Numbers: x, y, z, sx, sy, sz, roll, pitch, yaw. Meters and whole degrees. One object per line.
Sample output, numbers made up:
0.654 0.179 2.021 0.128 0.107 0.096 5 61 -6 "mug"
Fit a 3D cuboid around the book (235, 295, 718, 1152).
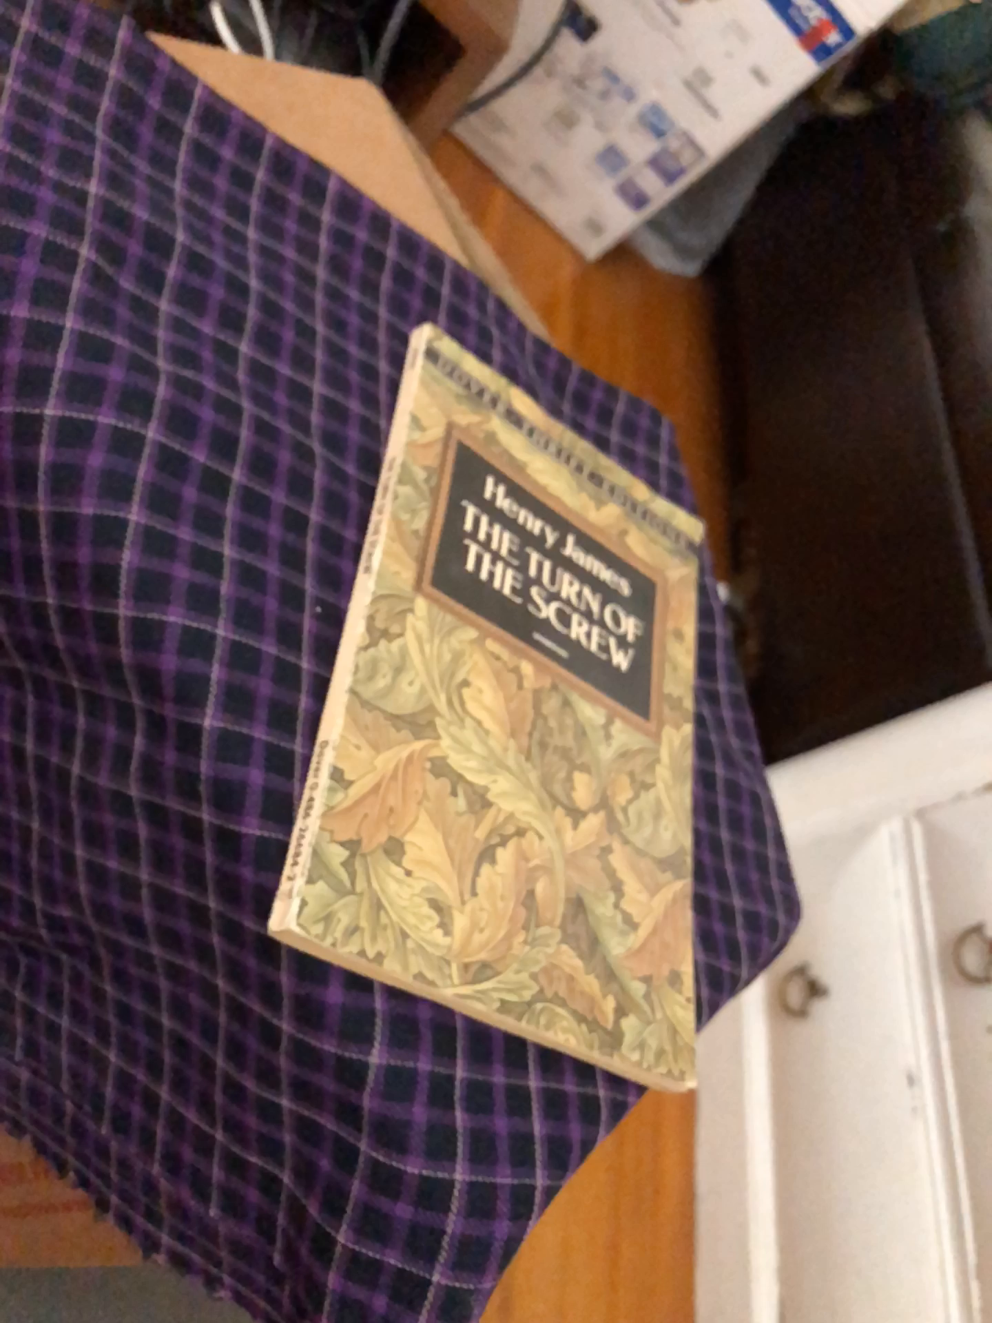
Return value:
0.013 0.008 0.321 0.140 0.010 0.221 31 48 -31 "book"
